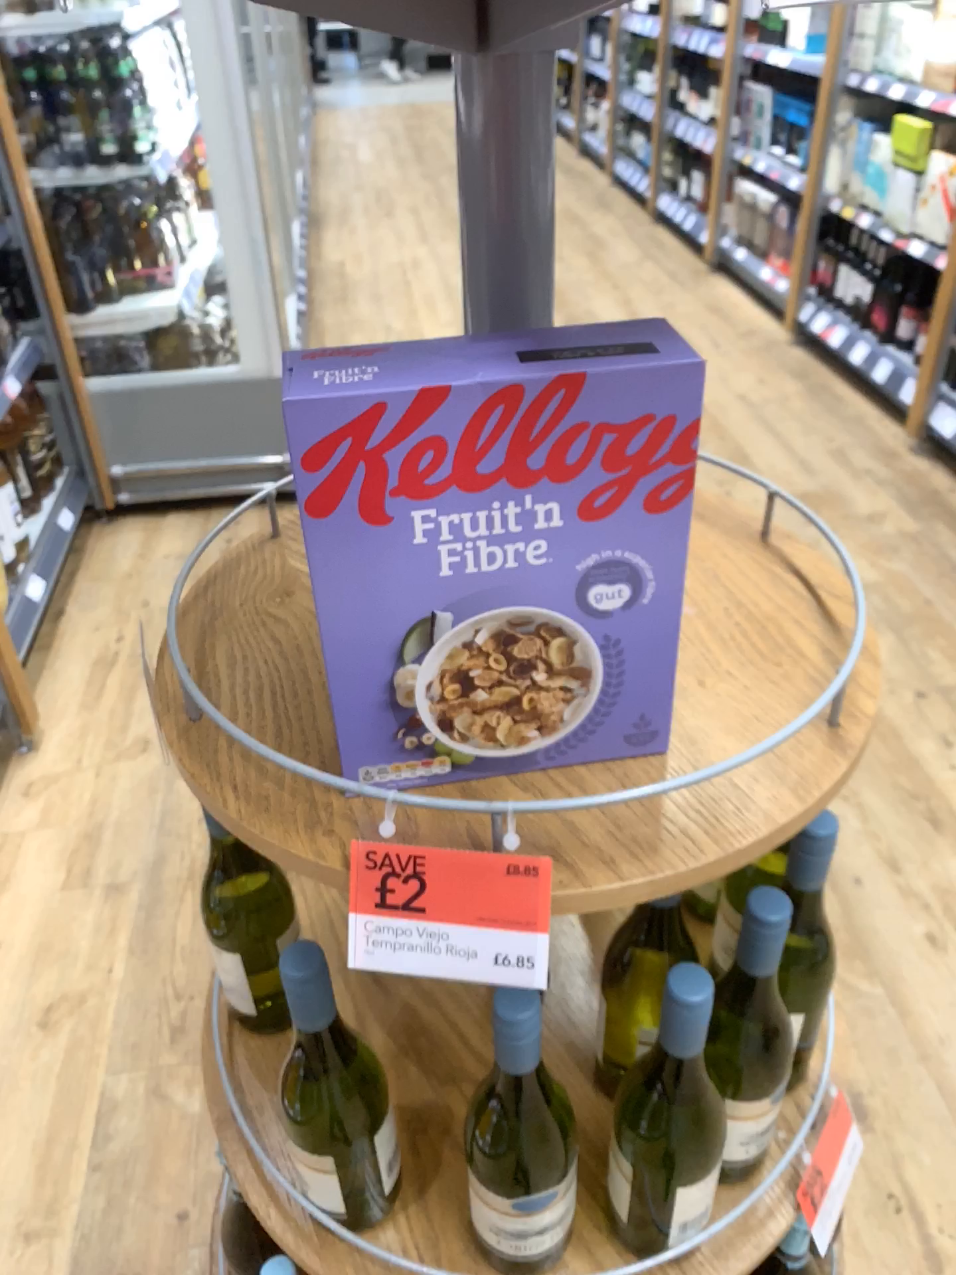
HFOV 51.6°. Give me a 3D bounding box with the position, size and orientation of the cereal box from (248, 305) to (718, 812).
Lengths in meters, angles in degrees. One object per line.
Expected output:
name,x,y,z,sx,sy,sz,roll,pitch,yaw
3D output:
cereal box,0.003,-0.034,0.512,0.200,0.238,0.071,-6,35,-6
